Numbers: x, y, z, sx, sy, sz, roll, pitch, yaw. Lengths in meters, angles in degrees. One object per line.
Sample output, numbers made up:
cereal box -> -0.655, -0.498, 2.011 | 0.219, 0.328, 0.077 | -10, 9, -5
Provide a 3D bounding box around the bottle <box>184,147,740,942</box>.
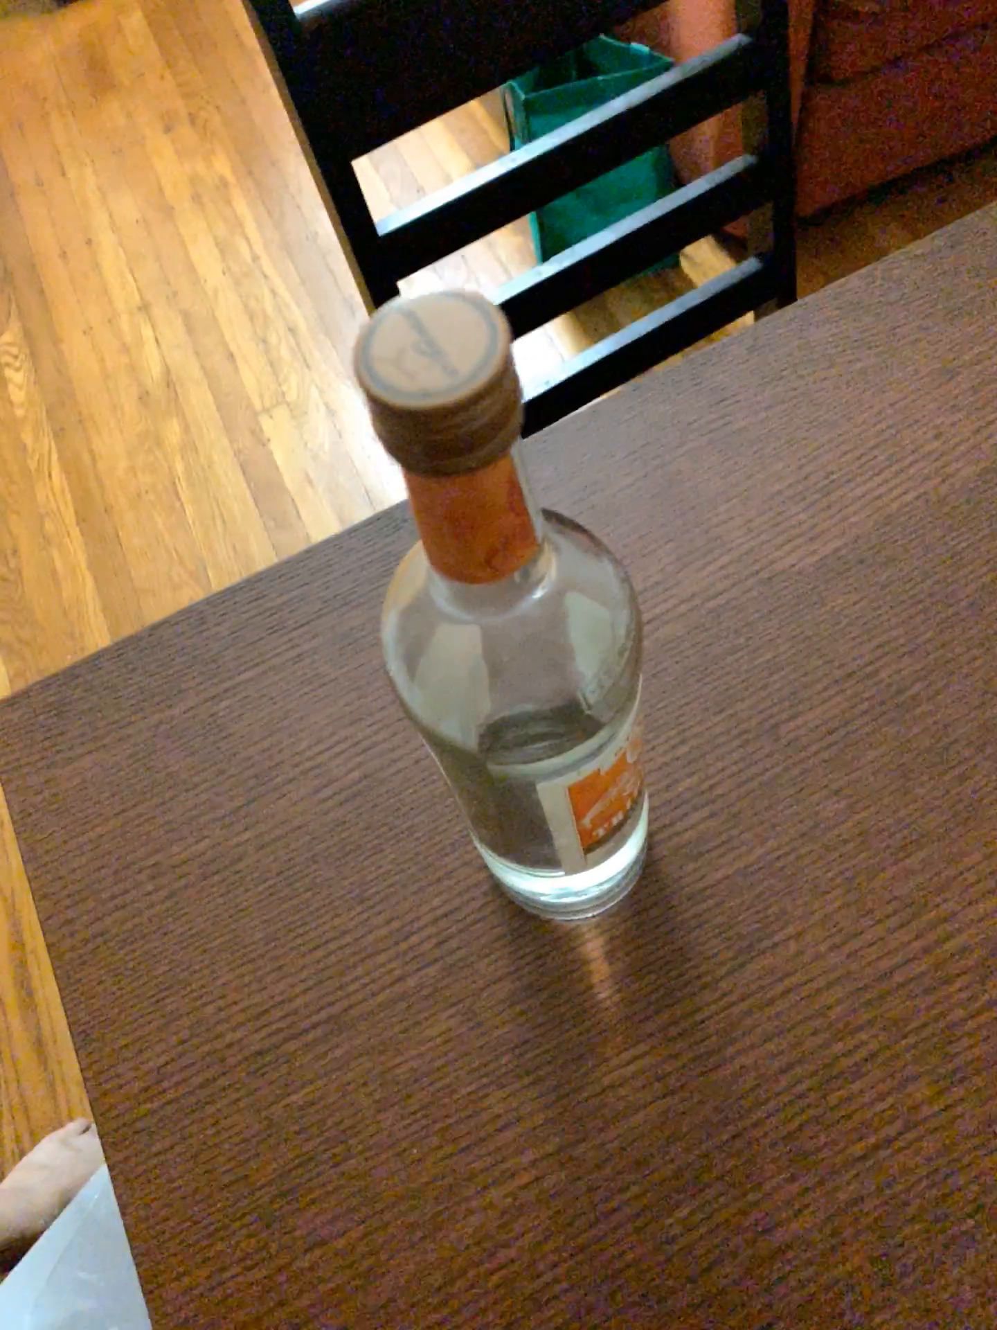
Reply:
bottle -> 0.016, 0.003, 0.320 | 0.080, 0.299, 0.090 | 12, 67, 14
